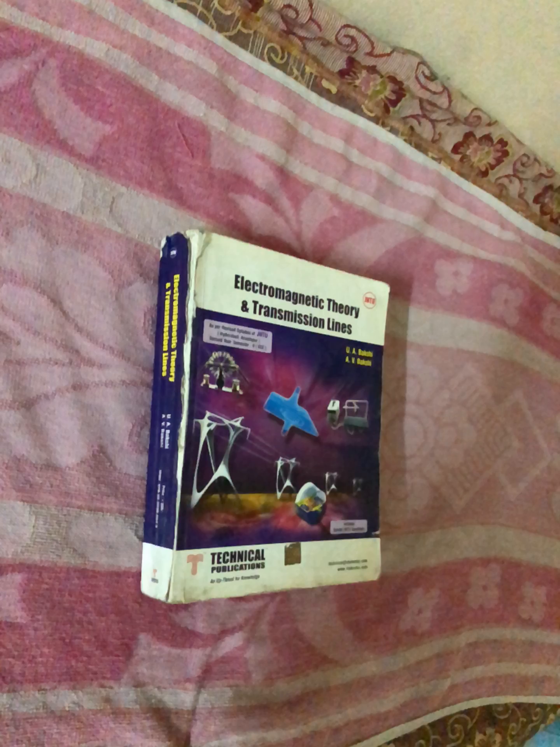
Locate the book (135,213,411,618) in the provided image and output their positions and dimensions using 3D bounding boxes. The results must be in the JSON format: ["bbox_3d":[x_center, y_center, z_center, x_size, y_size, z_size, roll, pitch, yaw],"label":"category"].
[{"bbox_3d":[0.006,0.034,0.467,0.201,0.060,0.250,7,81,-36],"label":"book"}]
